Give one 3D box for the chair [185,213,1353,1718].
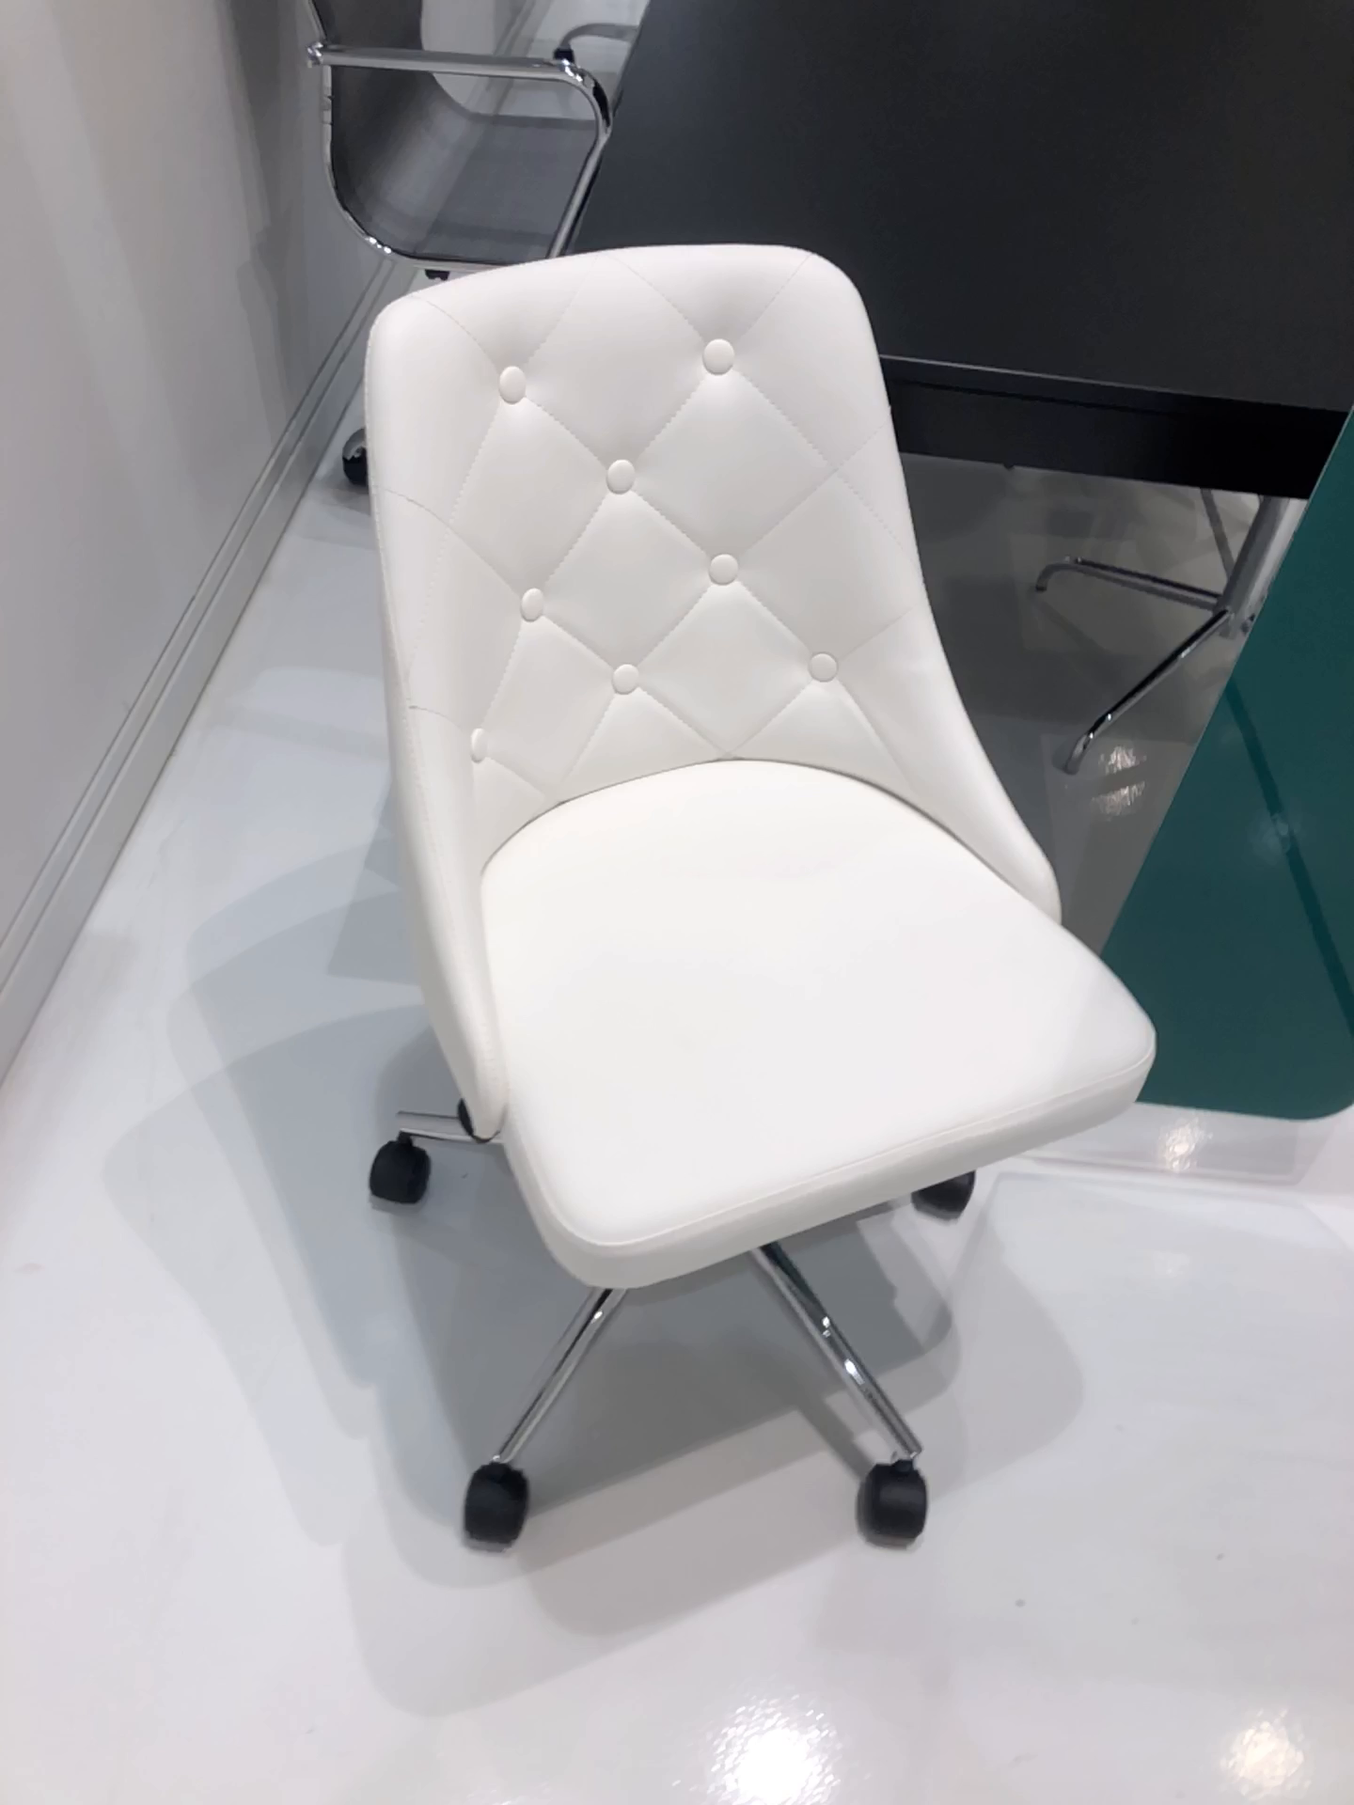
[{"bbox_3d":[0.047,0.050,1.154,0.601,0.854,0.643,-14,49,-19],"label":"chair"}]
